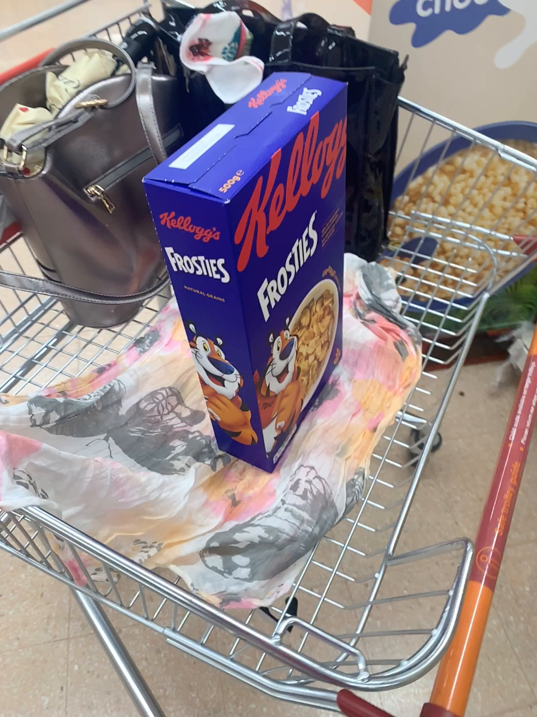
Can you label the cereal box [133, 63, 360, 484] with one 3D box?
[{"bbox_3d":[0.008,-0.068,0.537,0.080,0.337,0.211,17,50,23],"label":"cereal box"}]
